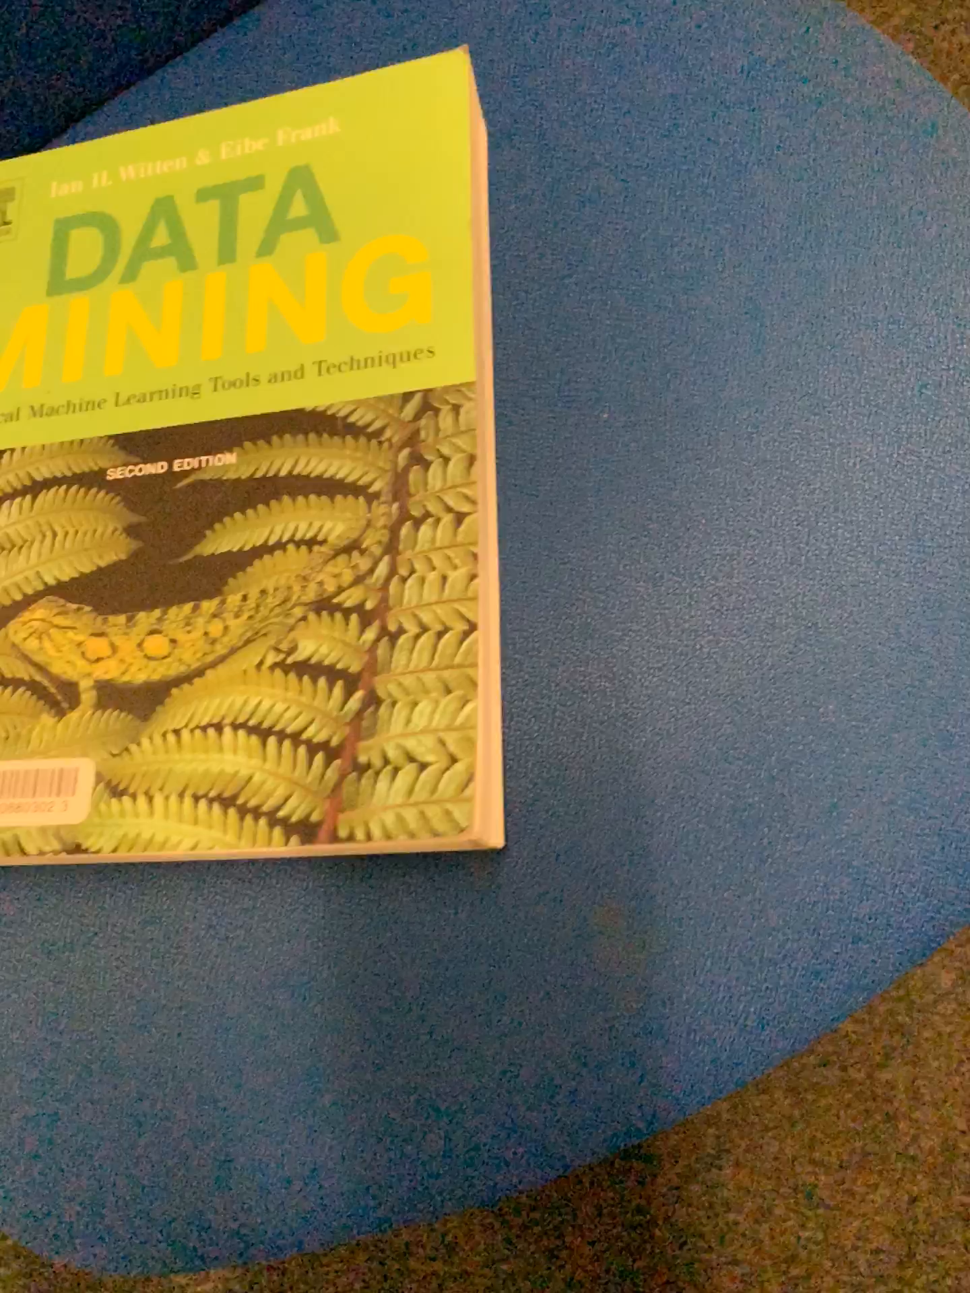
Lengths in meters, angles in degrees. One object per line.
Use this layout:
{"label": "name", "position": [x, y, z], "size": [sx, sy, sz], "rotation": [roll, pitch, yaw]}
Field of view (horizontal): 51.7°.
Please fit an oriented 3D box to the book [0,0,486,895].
{"label": "book", "position": [-0.116, -0.053, 0.300], "size": [0.220, 0.050, 0.241], "rotation": [-6, 75, 15]}
